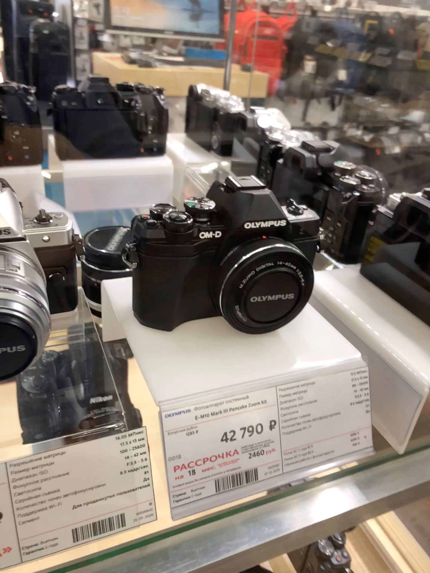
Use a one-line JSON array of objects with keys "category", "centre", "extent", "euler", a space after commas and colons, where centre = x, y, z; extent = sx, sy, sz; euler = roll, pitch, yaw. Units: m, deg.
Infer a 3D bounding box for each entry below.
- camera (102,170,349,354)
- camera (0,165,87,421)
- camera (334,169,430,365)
[{"category": "camera", "centre": [0.002, -0.020, 0.297], "extent": [0.129, 0.082, 0.064], "euler": [-7, 32, -19]}, {"category": "camera", "centre": [-0.130, -0.006, 0.241], "extent": [0.112, 0.080, 0.094], "euler": [-7, 32, -19]}, {"category": "camera", "centre": [0.165, -0.023, 0.328], "extent": [0.094, 0.074, 0.124], "euler": [-9, 33, -23]}]
